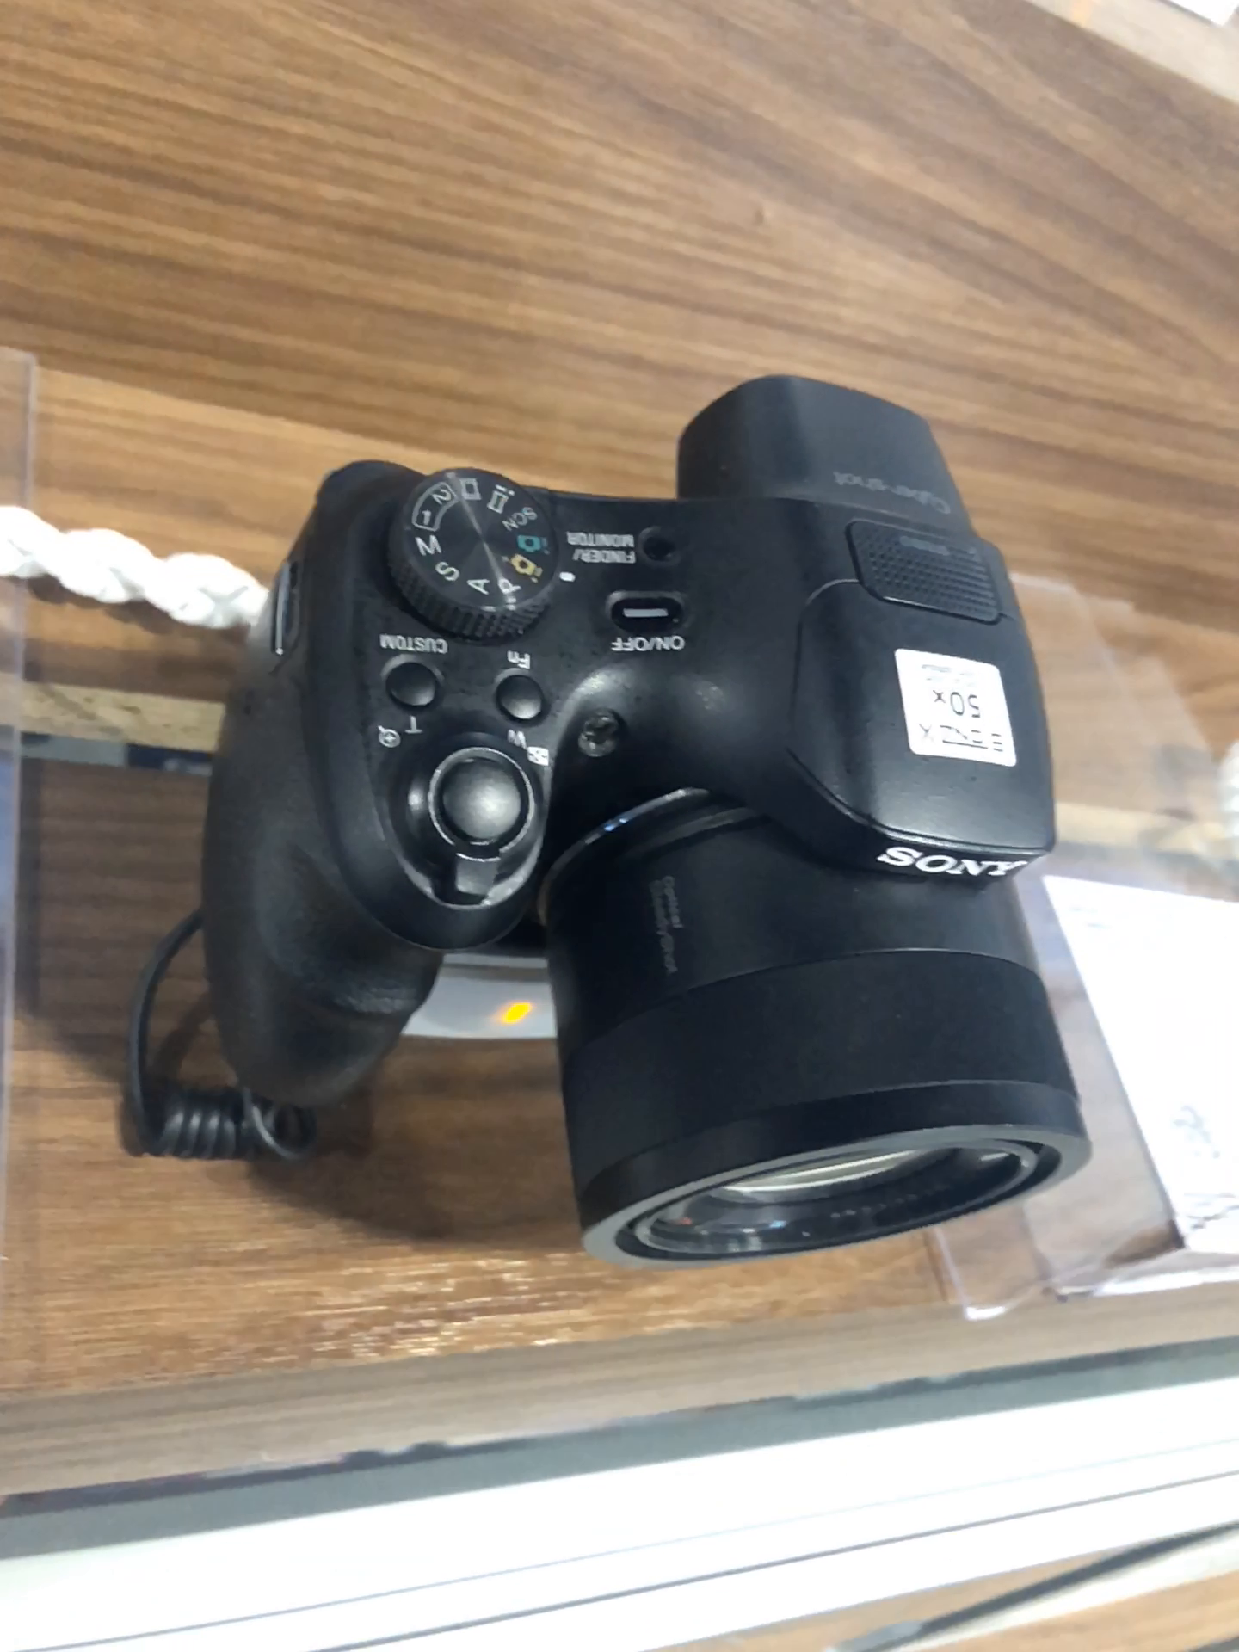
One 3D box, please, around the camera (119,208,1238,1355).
[{"bbox_3d":[0.002,0.000,0.195,0.125,0.084,0.110,6,51,-27],"label":"camera"}]
